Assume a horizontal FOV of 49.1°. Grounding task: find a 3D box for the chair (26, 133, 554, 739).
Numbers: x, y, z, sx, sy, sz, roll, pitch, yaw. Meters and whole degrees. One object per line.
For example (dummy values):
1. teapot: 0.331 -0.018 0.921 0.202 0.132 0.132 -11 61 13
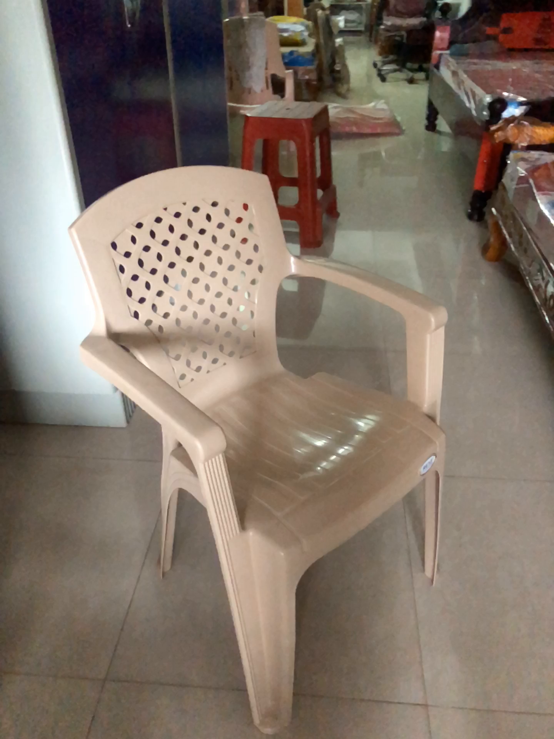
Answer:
1. chair: 0.023 0.086 1.094 0.542 0.796 0.561 -27 42 -33
